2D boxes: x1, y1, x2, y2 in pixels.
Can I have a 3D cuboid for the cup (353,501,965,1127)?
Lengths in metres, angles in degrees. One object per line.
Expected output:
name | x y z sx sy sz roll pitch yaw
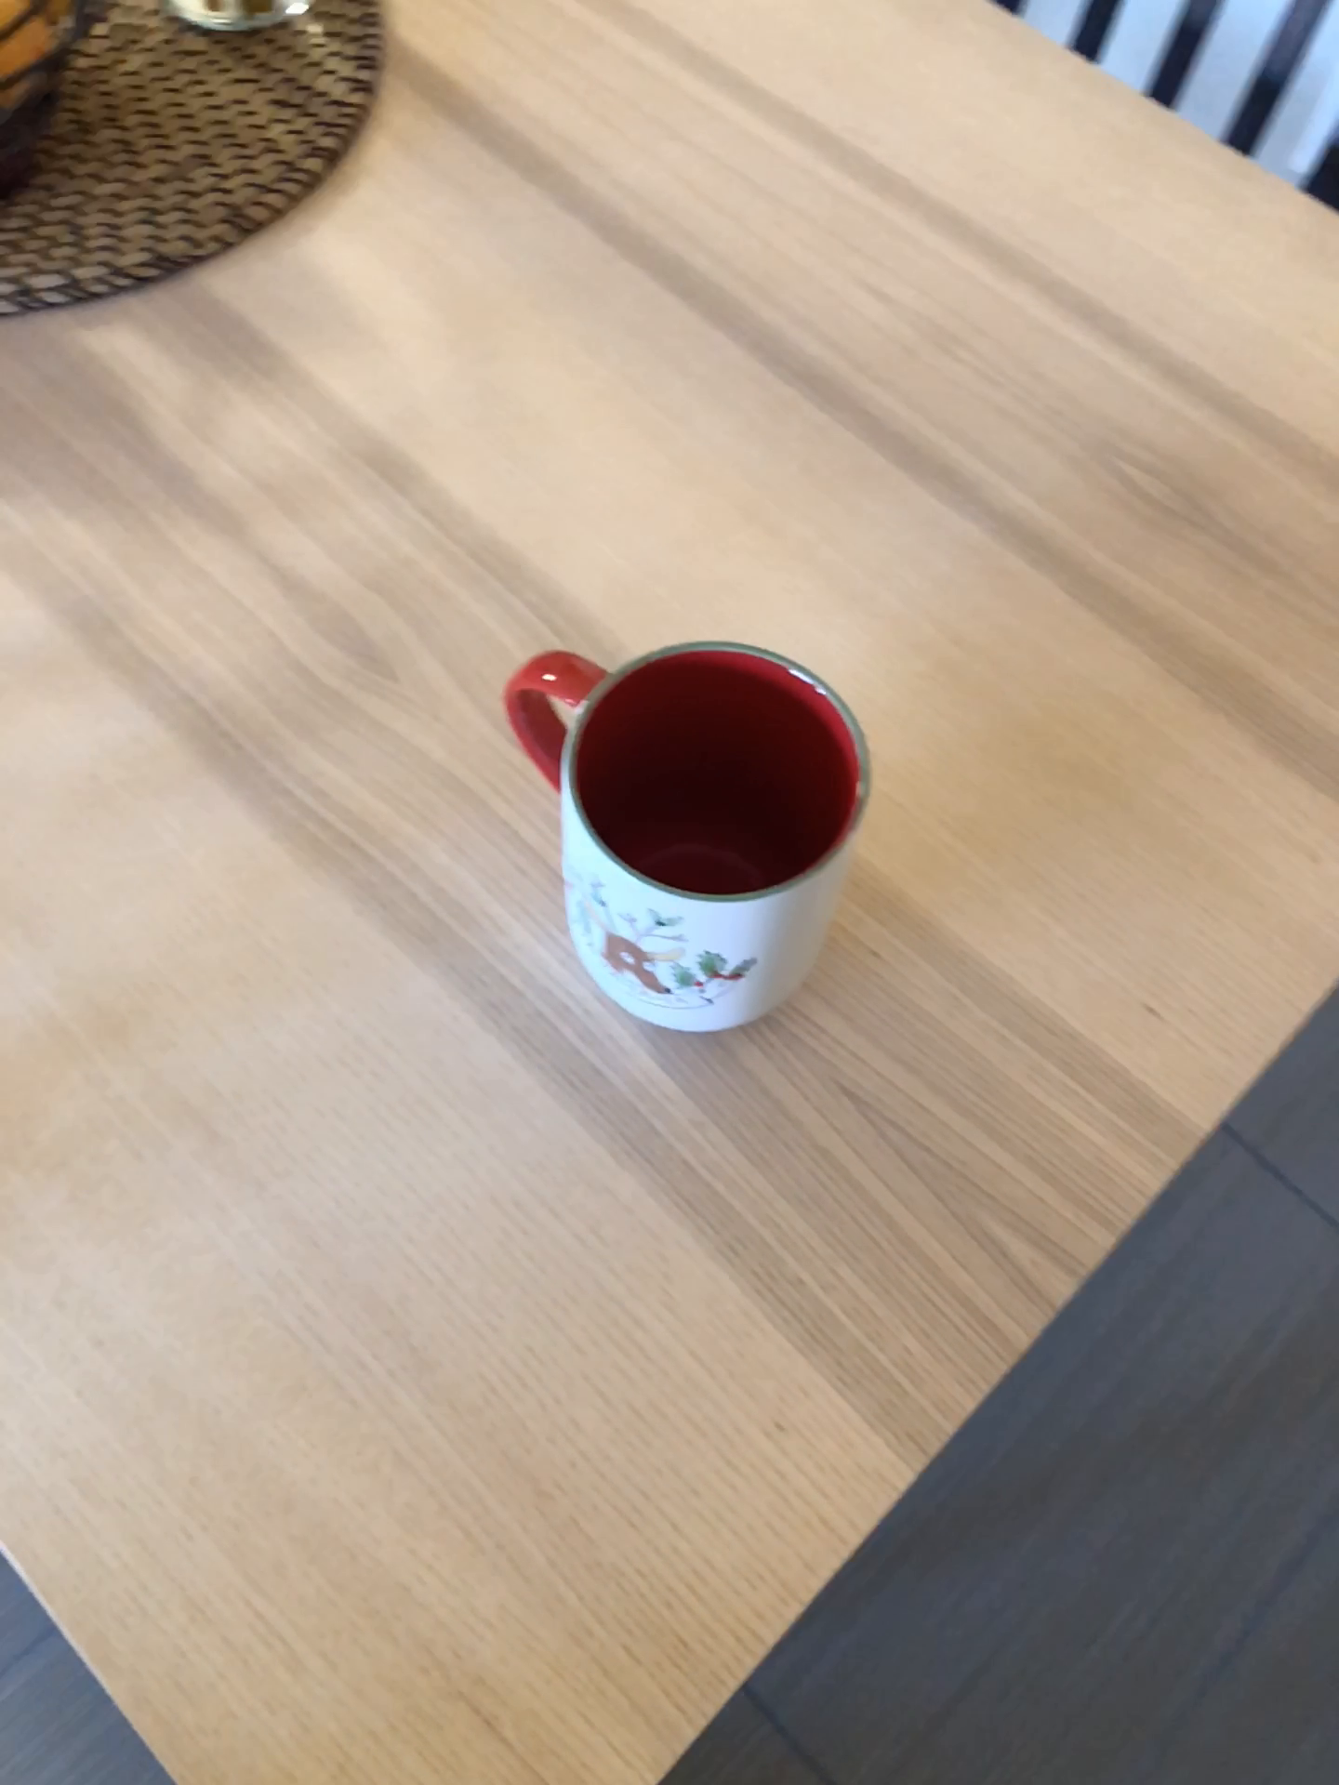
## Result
cup | -0.005 -0.023 0.460 0.140 0.100 0.100 36 66 15
